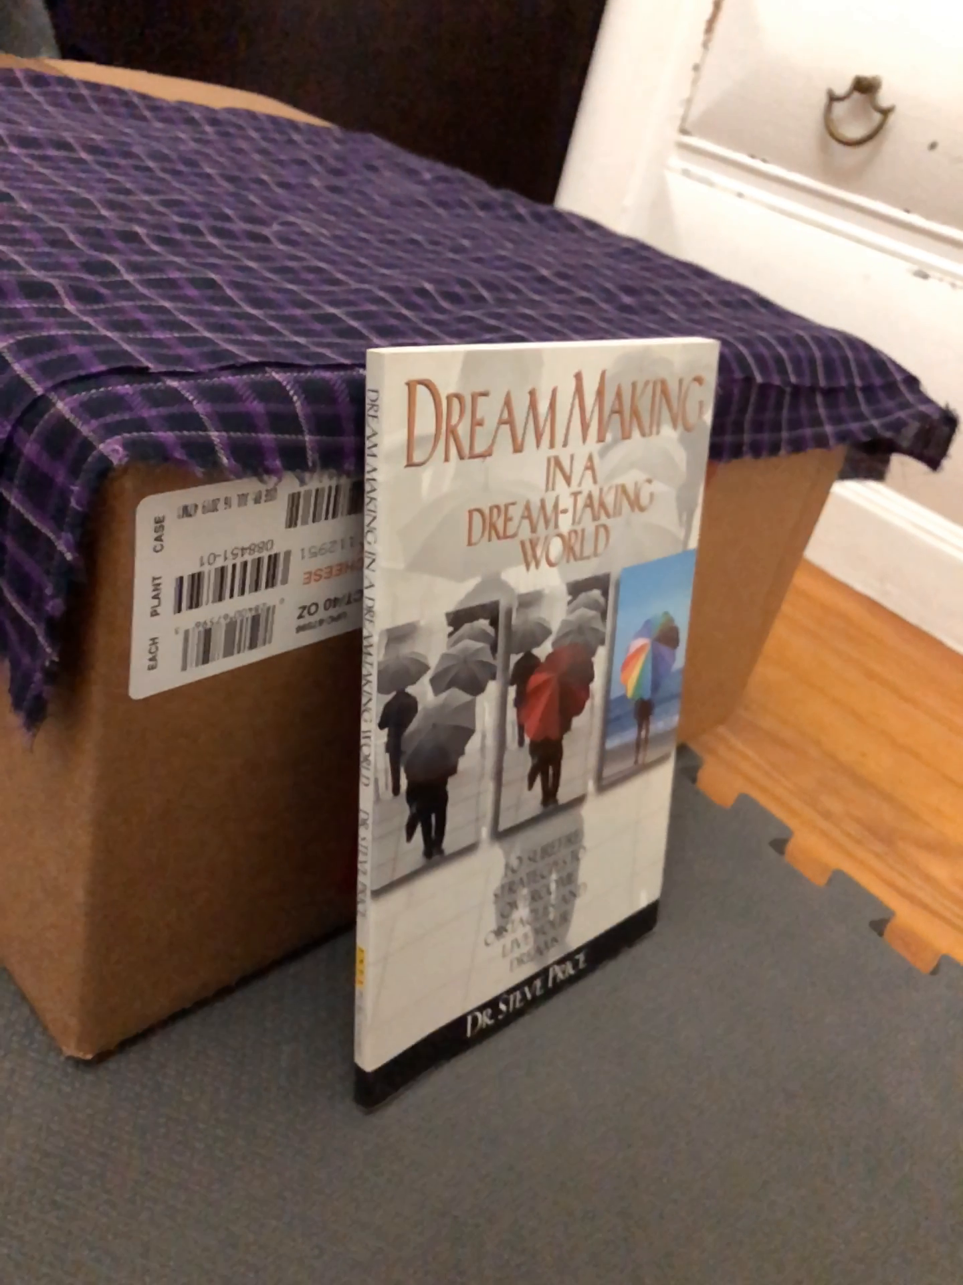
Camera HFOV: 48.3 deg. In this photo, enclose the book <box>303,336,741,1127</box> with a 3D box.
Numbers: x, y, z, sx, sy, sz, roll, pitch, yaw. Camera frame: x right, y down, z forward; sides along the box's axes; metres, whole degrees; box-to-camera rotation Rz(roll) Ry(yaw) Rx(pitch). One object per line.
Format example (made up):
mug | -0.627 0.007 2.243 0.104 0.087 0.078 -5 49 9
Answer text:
book | 0.016 0.021 0.335 0.151 0.219 0.020 -16 27 -40
